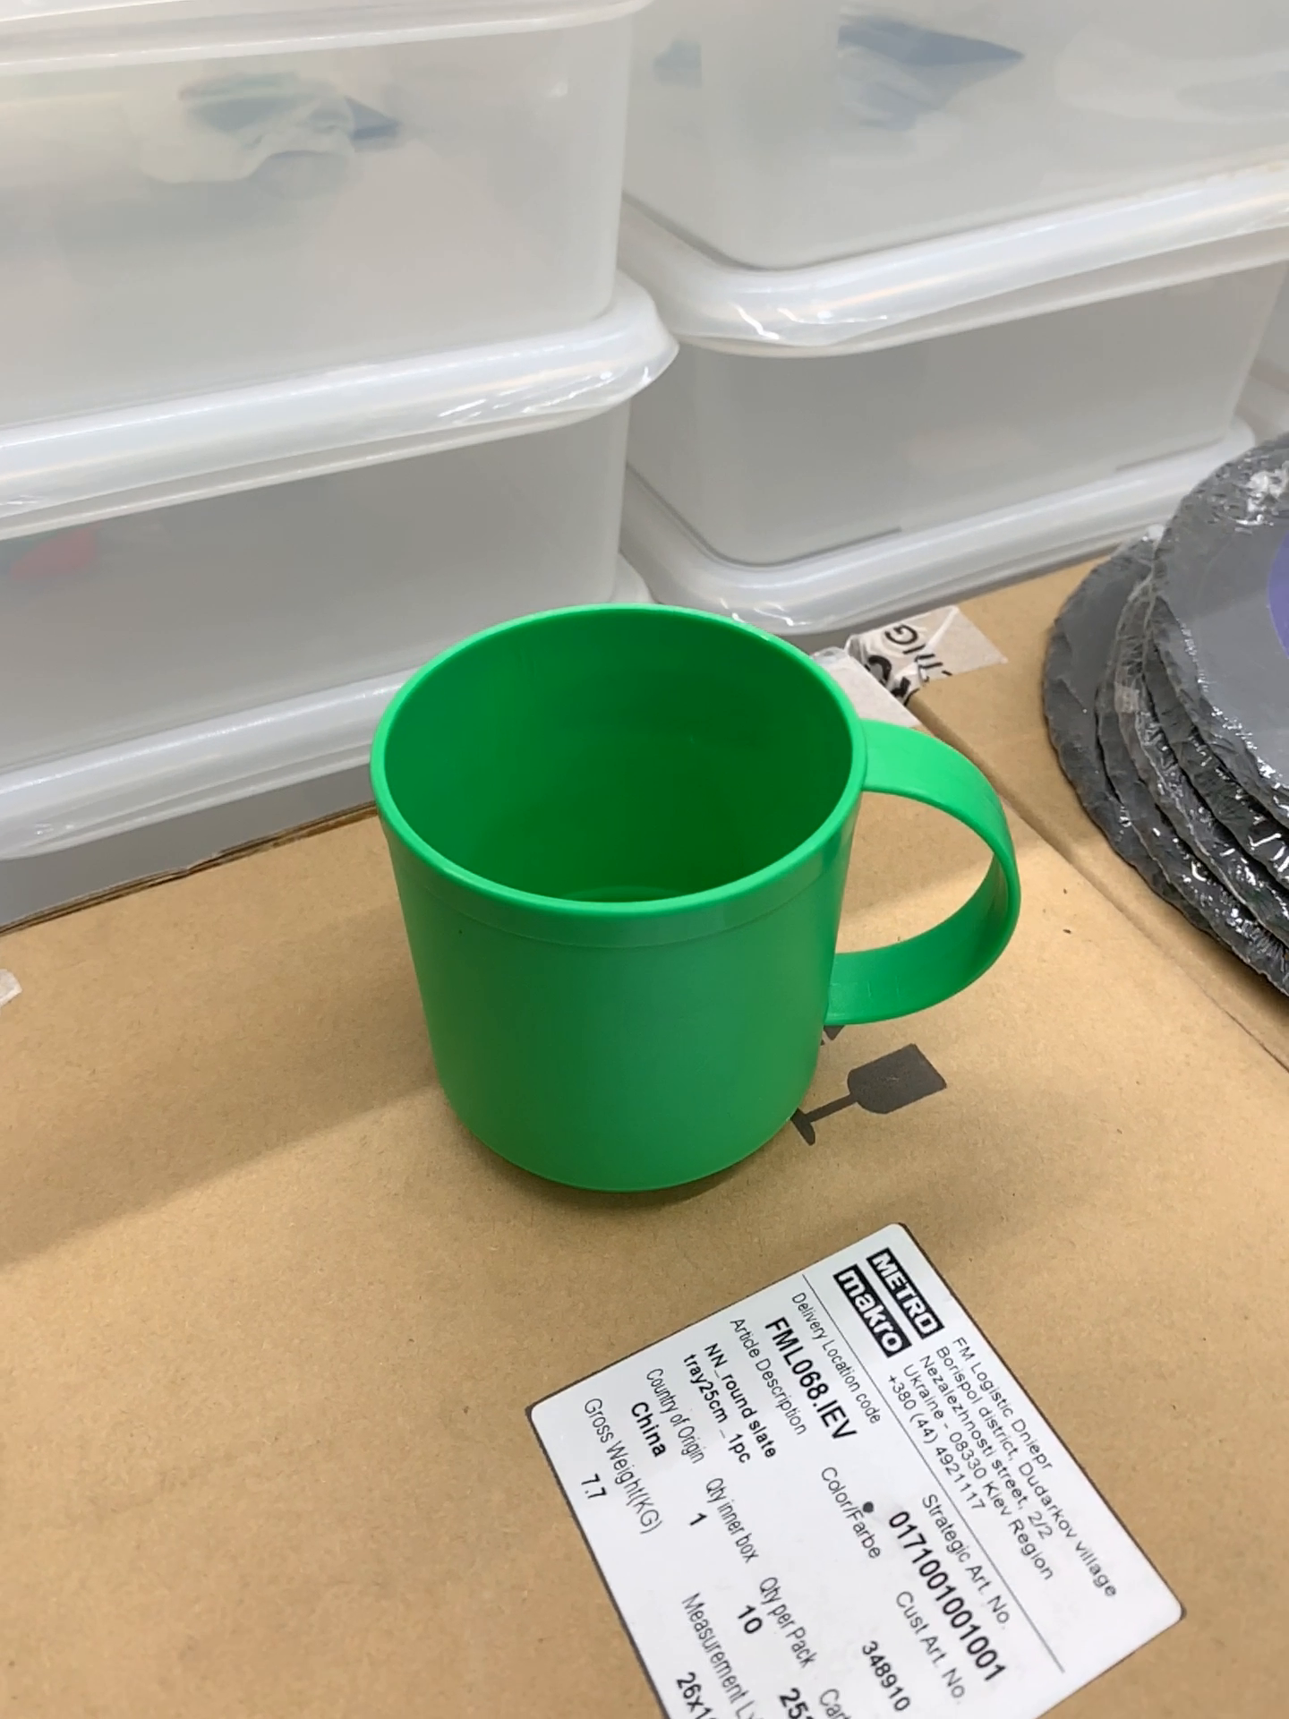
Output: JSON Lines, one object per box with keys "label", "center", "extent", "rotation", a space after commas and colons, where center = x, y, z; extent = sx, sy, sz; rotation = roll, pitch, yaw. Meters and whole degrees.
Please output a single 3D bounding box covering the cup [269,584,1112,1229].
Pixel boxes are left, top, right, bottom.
{"label": "cup", "center": [0.008, 0.006, 0.218], "extent": [0.105, 0.069, 0.076], "rotation": [1, 43, 3]}
